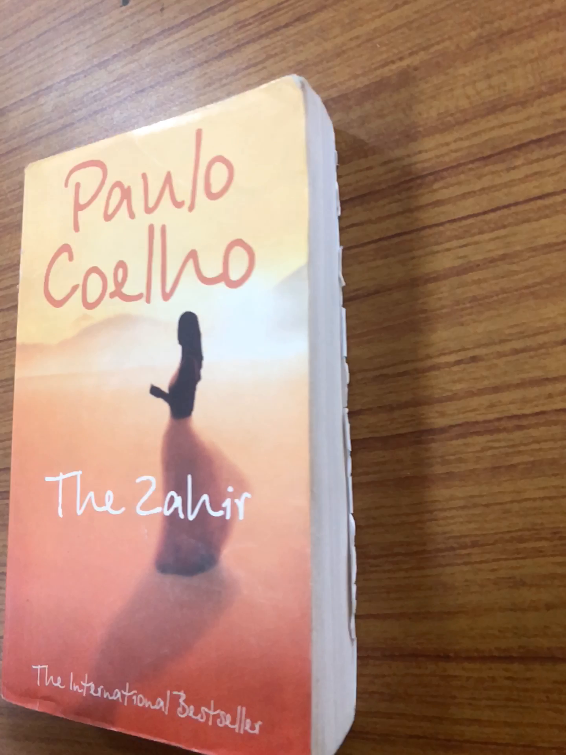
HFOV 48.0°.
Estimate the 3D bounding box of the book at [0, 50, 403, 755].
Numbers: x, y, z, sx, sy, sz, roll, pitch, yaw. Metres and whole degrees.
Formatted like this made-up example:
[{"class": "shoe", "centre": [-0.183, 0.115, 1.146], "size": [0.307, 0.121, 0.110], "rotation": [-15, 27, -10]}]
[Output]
[{"class": "book", "centre": [-0.033, 0.013, 0.193], "size": [0.121, 0.040, 0.180], "rotation": [-6, 80, 26]}]
